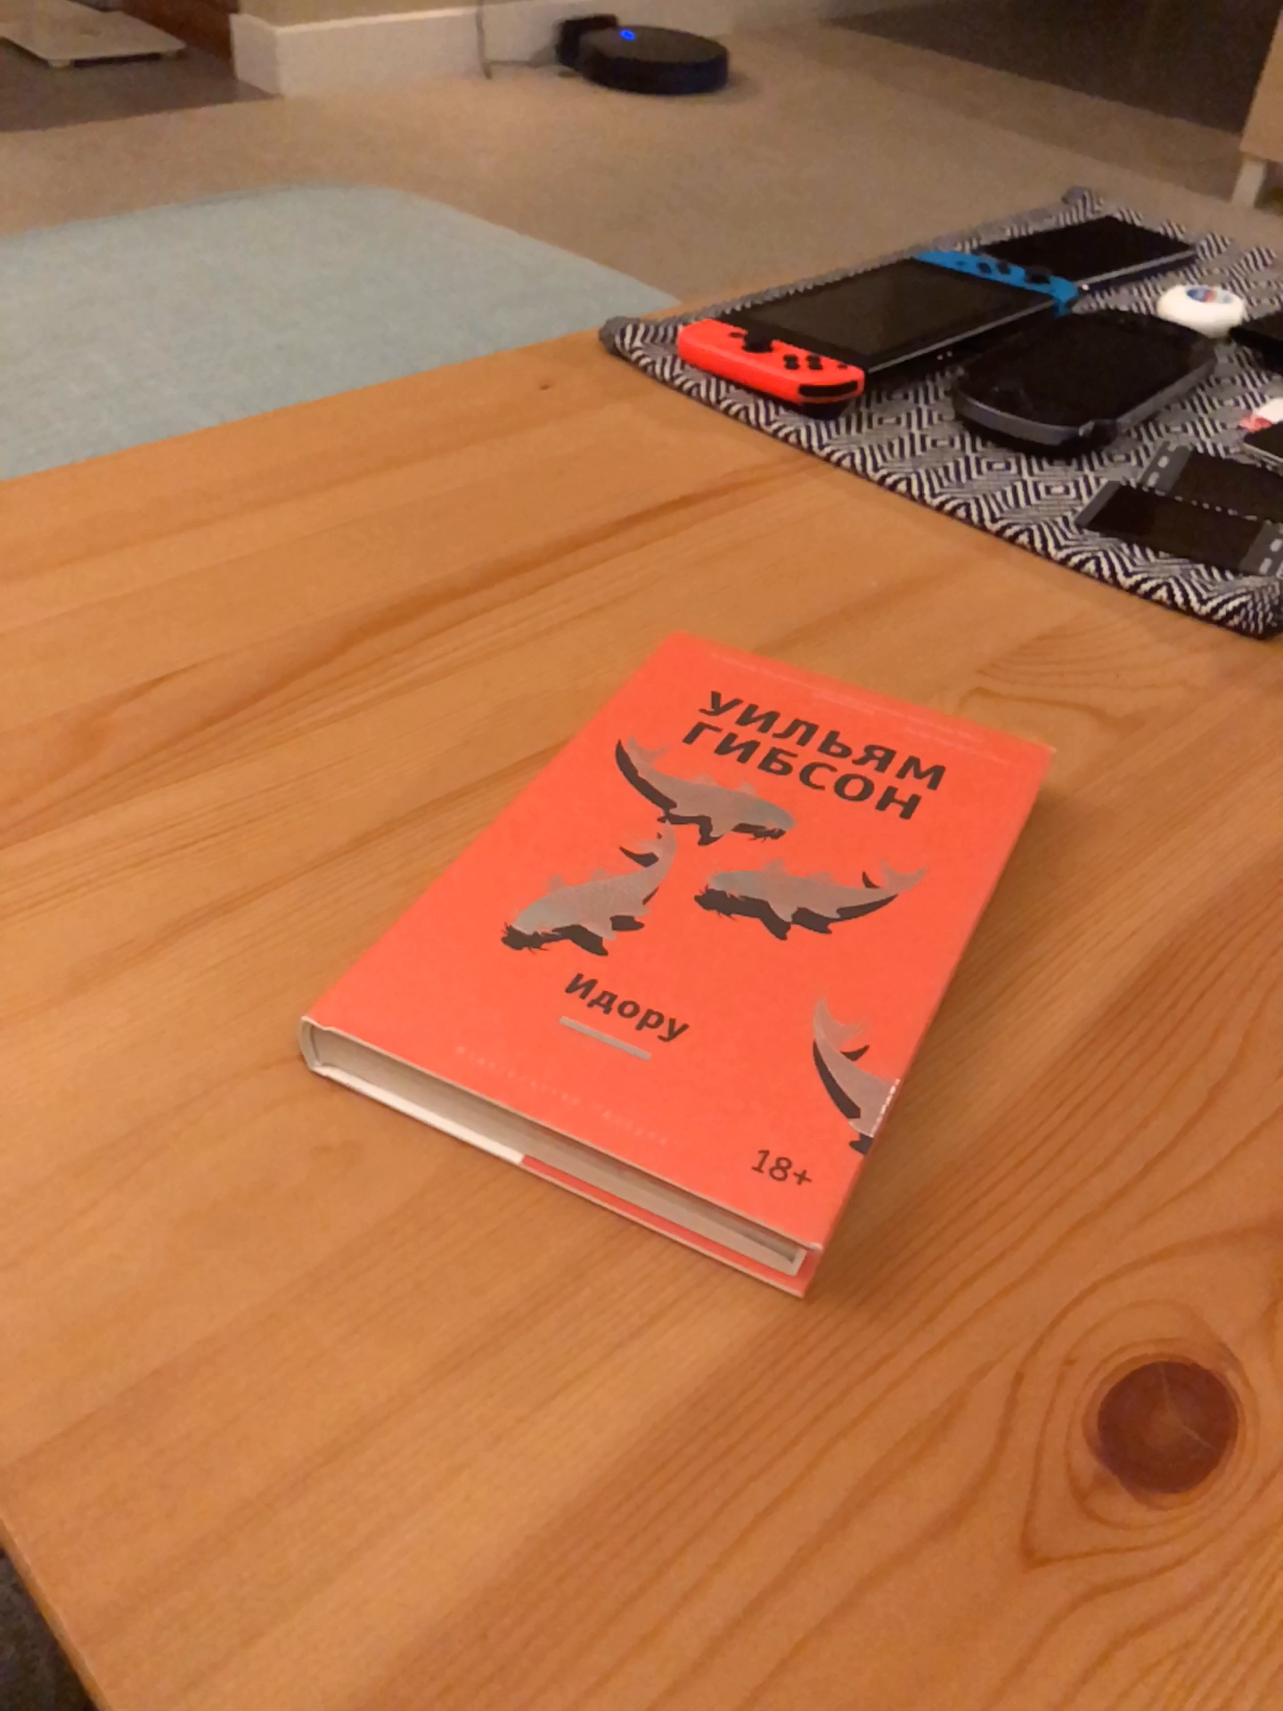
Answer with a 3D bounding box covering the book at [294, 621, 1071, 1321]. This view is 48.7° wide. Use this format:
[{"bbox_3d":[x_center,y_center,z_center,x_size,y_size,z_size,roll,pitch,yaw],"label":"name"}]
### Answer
[{"bbox_3d":[0.025,0.010,0.387,0.134,0.020,0.208,21,43,17],"label":"book"}]
